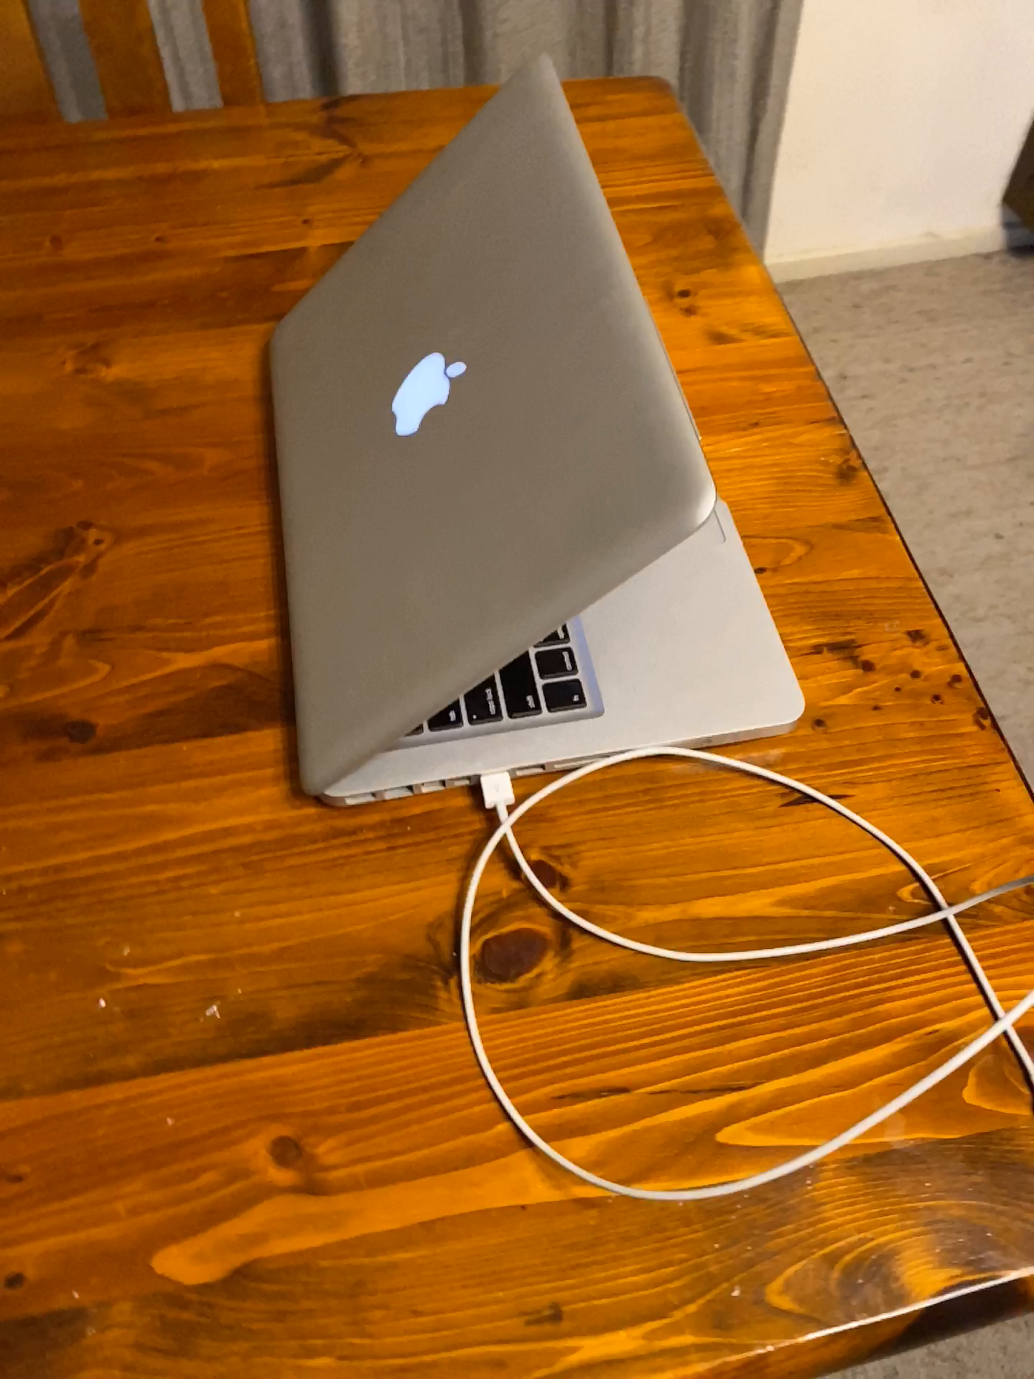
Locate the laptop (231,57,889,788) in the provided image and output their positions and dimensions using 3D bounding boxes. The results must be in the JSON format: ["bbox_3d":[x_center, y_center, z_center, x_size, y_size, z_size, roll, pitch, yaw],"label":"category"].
[{"bbox_3d":[-0.005,-0.137,0.487,0.211,0.136,0.312,-8,56,-6],"label":"laptop"}]
